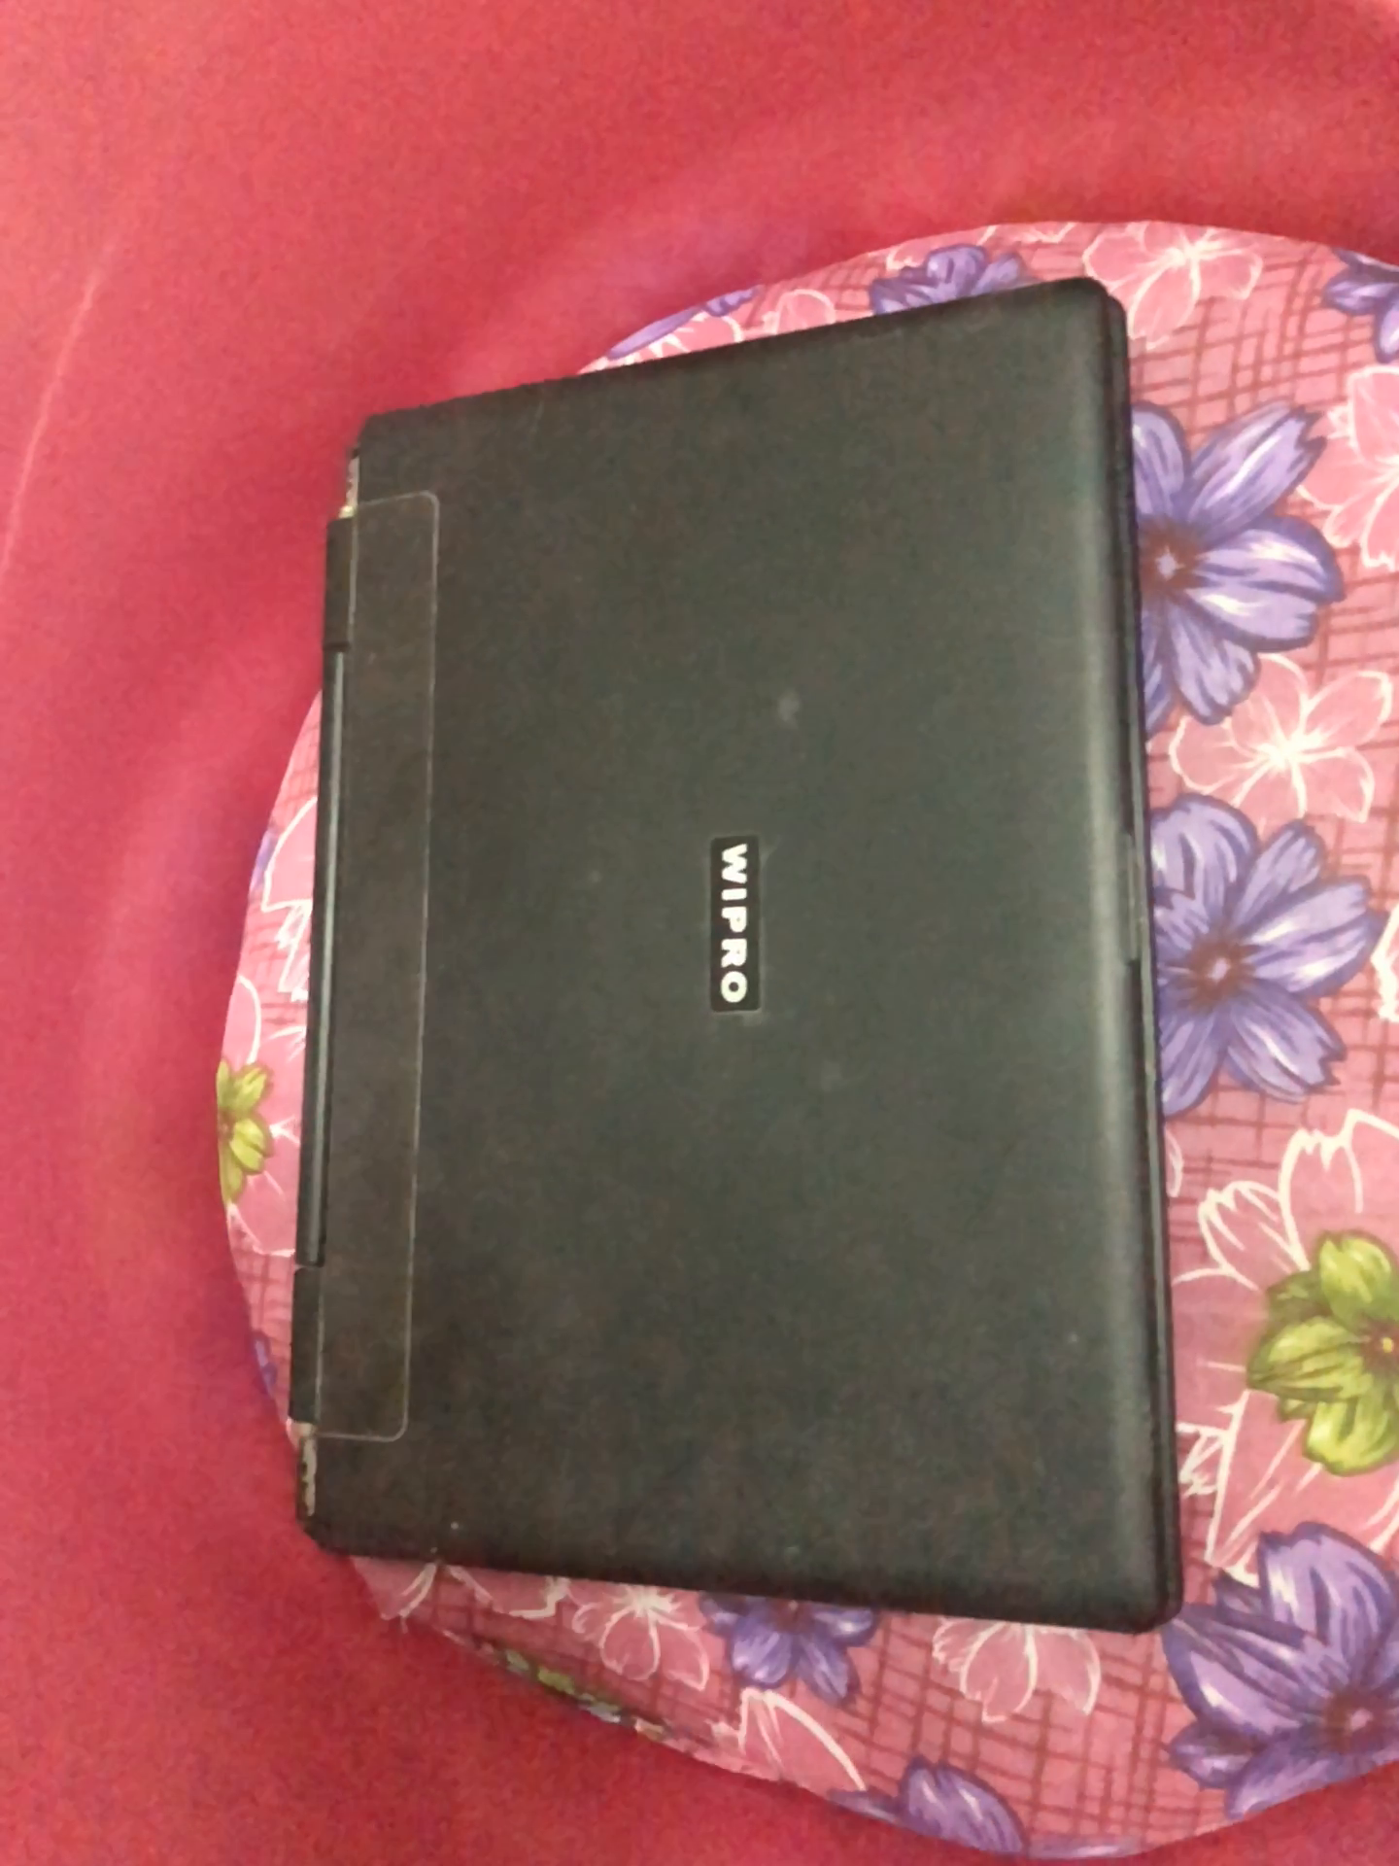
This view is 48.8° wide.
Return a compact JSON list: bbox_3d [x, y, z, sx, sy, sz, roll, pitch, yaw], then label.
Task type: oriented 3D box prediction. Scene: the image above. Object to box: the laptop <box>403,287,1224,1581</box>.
[{"bbox_3d":[0.021,-0.005,0.423,0.220,0.006,0.322,-3,80,22],"label":"laptop"}]
